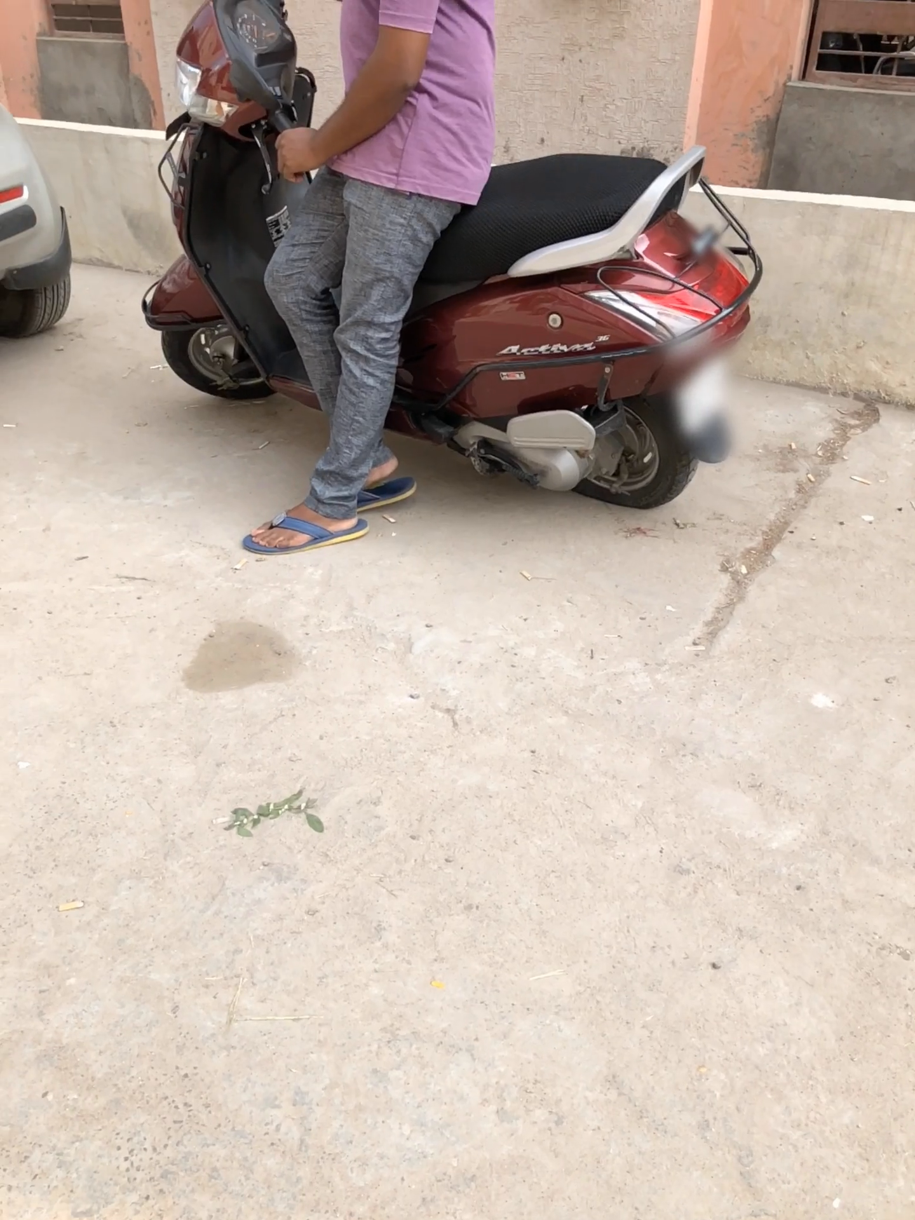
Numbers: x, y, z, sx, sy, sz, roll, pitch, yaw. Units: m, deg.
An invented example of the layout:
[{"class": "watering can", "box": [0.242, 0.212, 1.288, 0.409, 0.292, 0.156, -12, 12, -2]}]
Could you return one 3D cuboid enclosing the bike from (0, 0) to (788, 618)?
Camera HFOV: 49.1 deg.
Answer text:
[{"class": "bike", "box": [-0.208, -0.792, 2.289, 1.576, 1.072, 0.633, 17, 36, 27]}]
